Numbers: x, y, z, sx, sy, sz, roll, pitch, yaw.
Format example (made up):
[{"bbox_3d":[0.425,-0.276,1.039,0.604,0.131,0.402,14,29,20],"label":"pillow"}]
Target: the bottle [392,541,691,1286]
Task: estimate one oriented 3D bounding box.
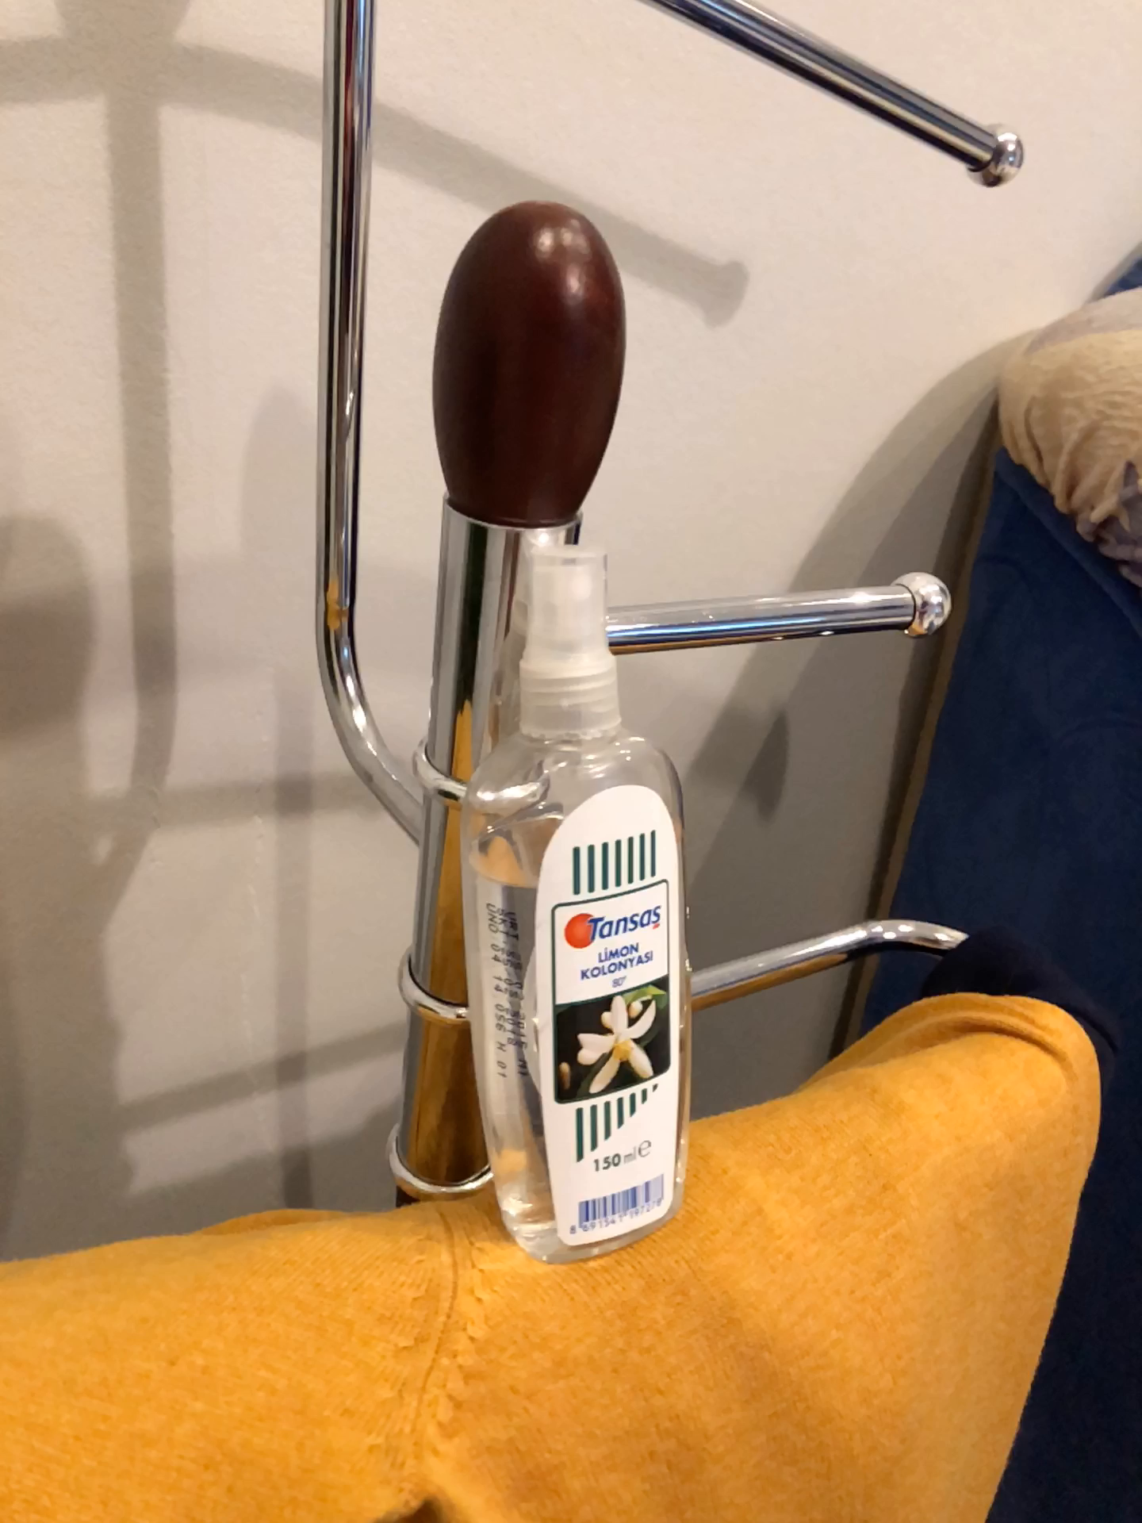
[{"bbox_3d":[-0.005,0.033,0.285,0.051,0.158,0.030,-9,15,-25],"label":"bottle"}]
